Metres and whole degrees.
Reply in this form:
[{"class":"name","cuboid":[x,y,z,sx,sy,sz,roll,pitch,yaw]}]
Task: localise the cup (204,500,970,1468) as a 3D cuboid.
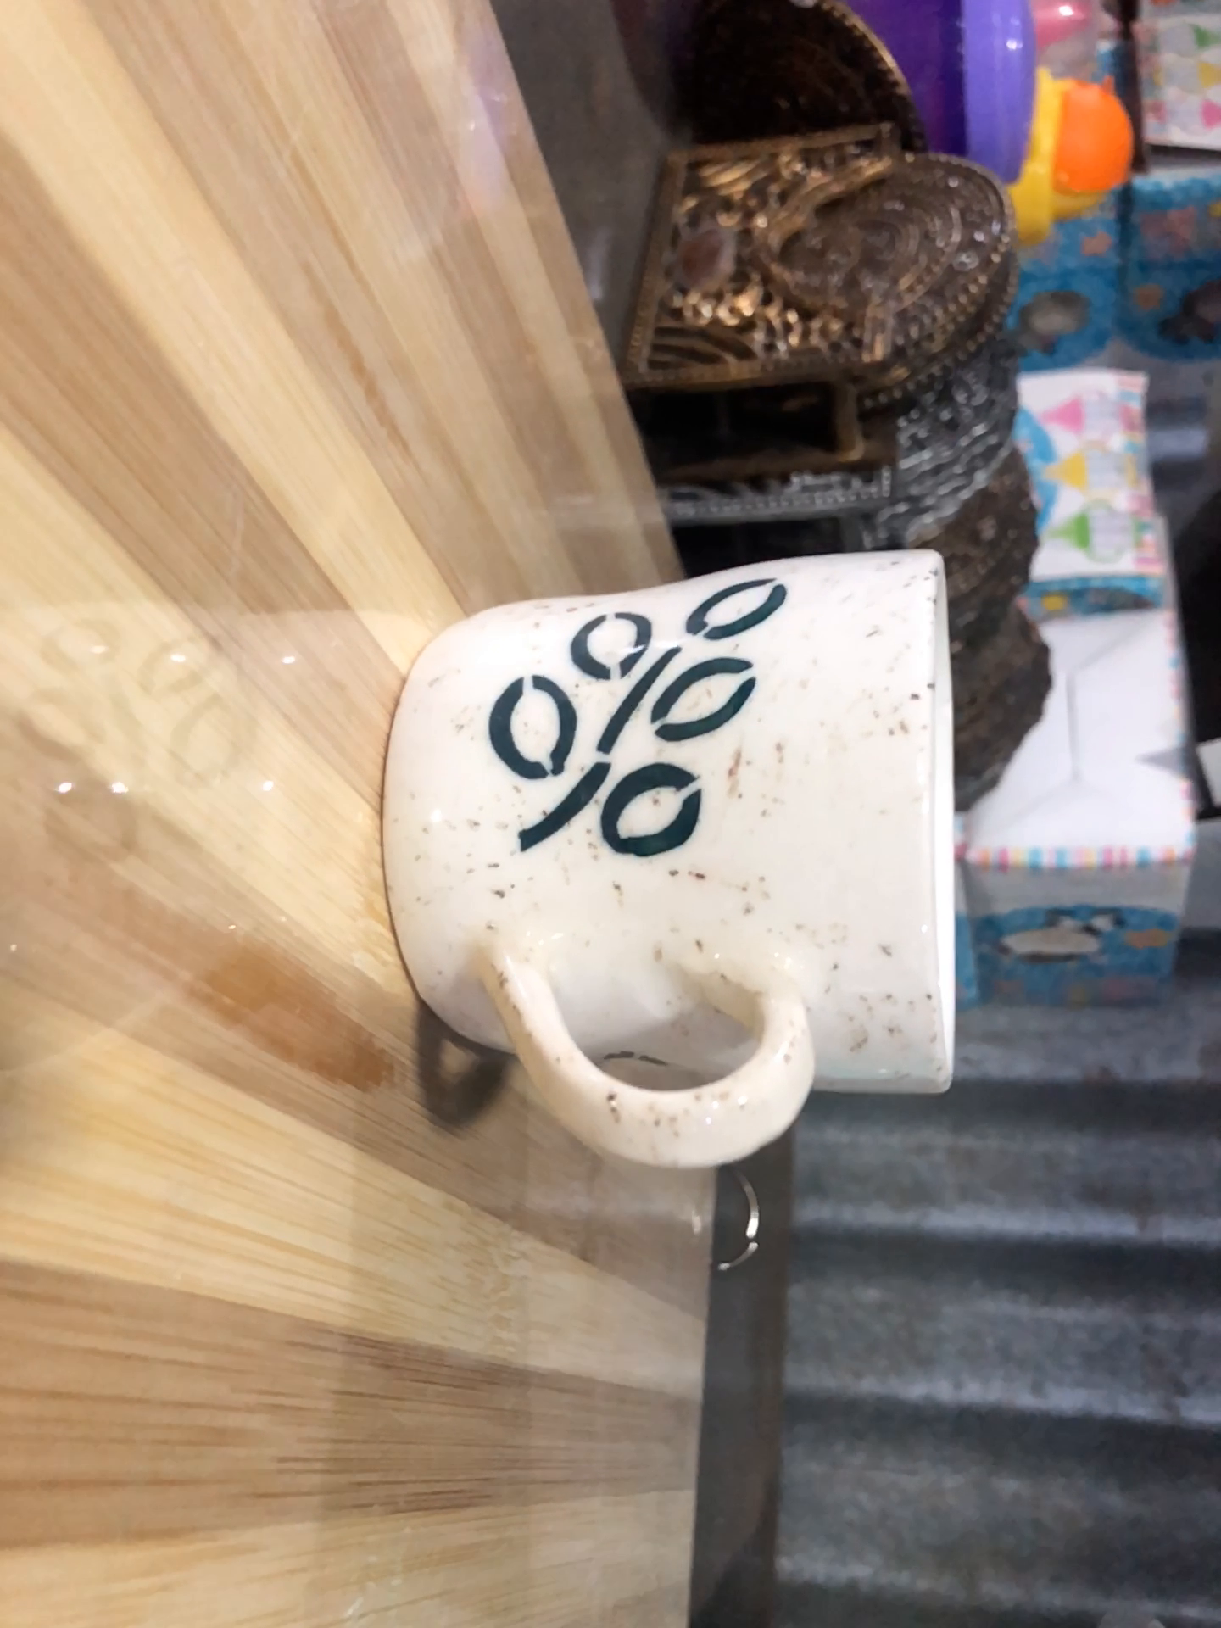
[{"class":"cup","cuboid":[0.010,0.018,0.180,0.090,0.070,0.080,-75,159,-48]}]
